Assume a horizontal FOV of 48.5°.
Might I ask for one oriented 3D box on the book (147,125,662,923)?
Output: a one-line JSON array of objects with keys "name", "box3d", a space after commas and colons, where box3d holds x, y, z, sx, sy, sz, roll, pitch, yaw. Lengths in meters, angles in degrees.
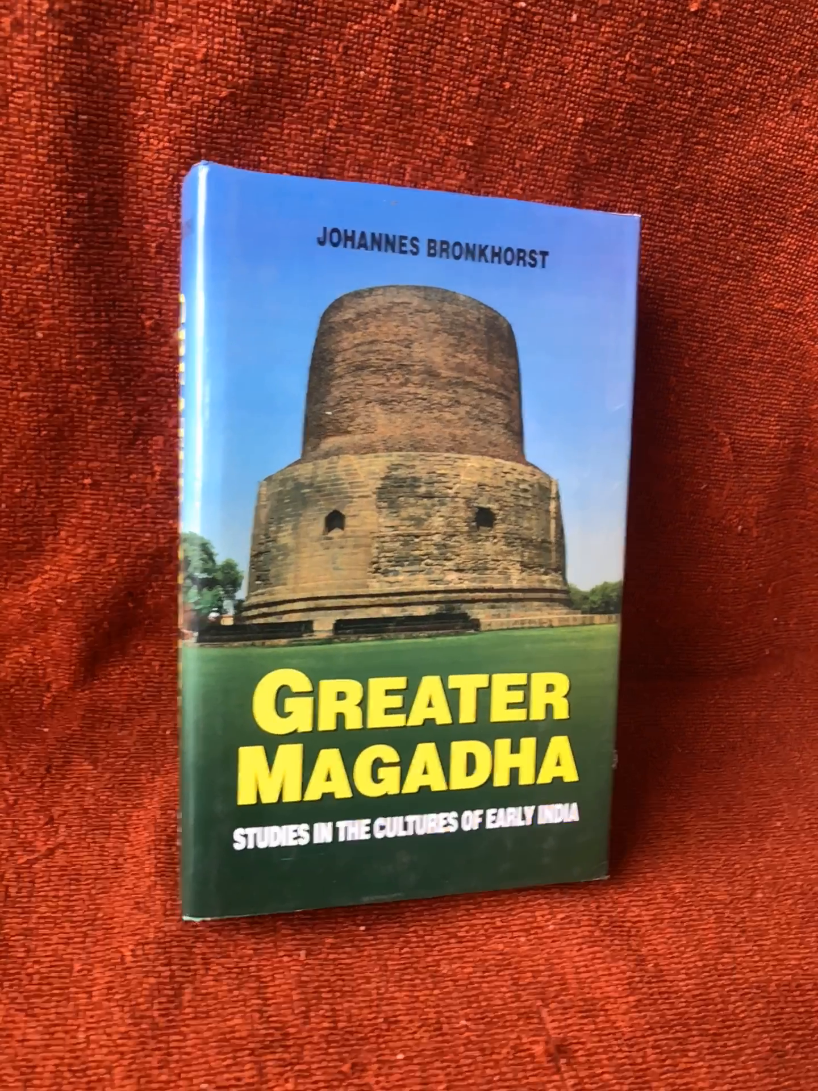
[{"name": "book", "box3d": [-0.002, -0.002, 0.285, 0.150, 0.220, 0.030, 1, 5, -16]}]
